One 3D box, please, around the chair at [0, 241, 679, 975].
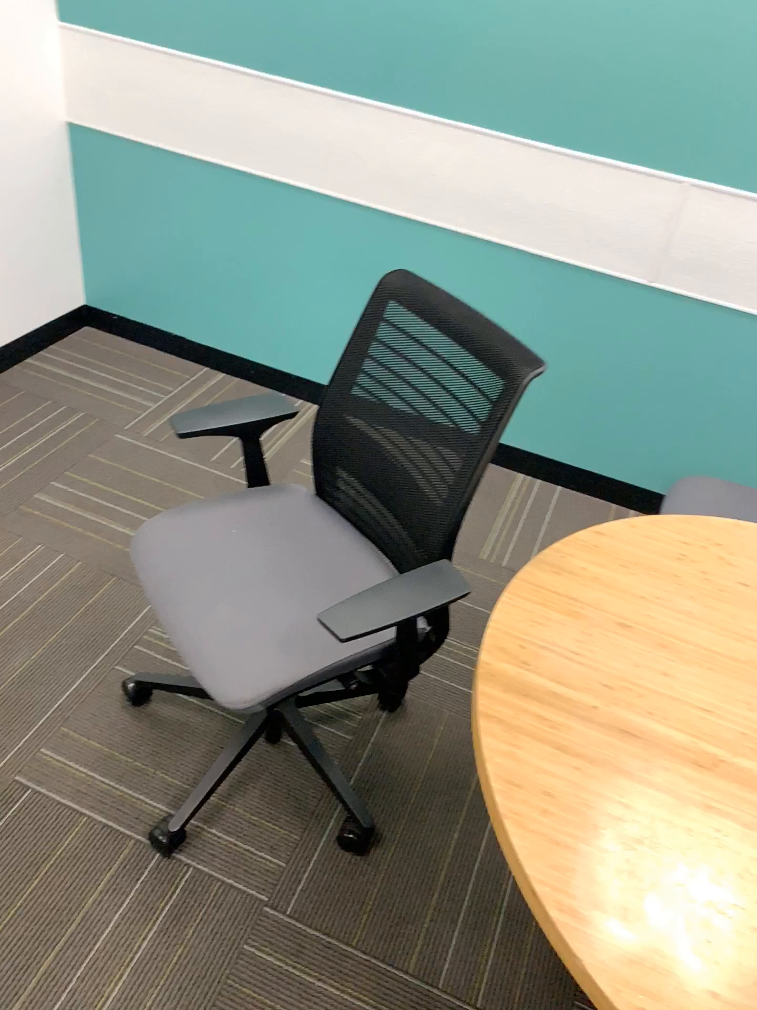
[{"bbox_3d":[-0.125,0.138,1.547,0.841,0.984,0.733,-21,47,-34],"label":"chair"}]
